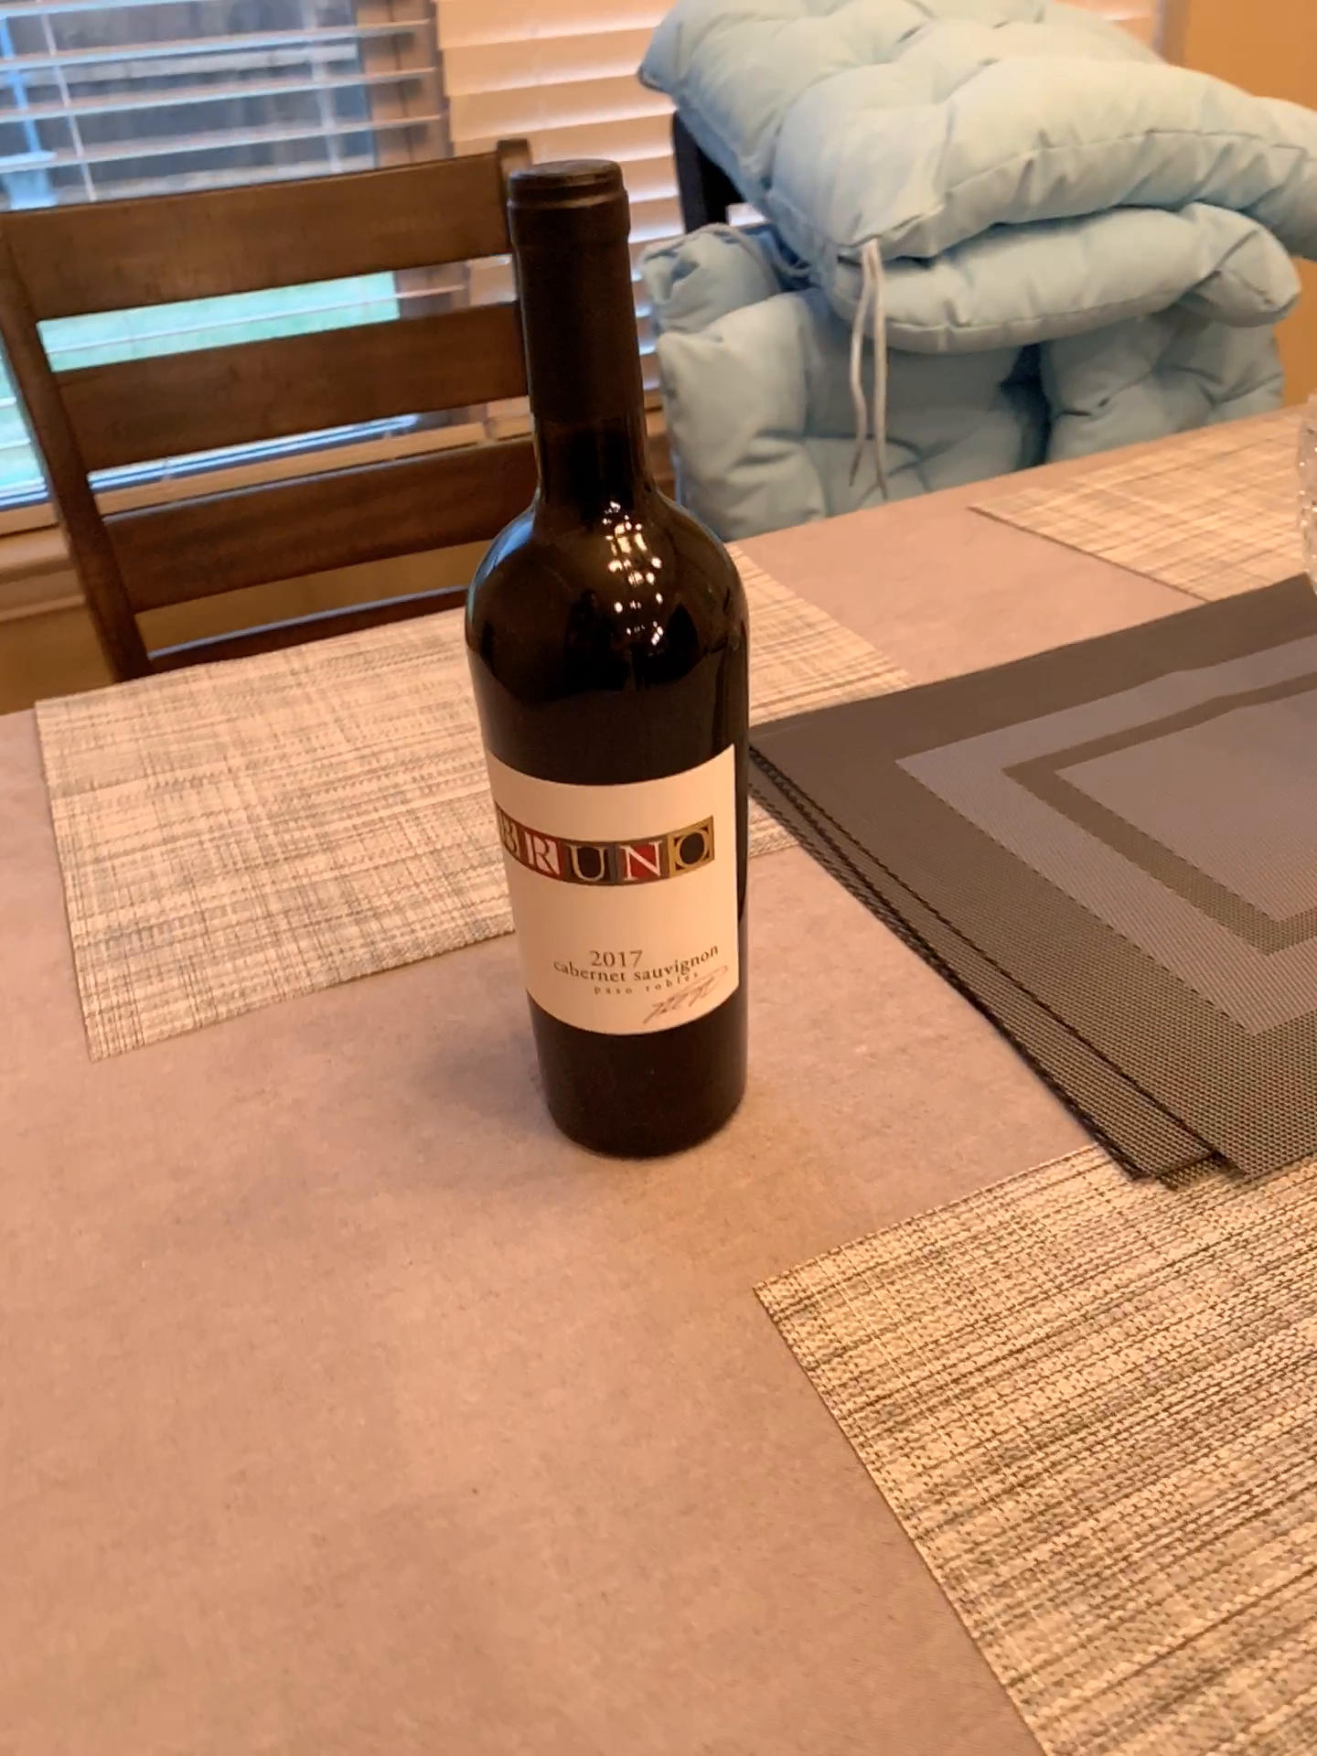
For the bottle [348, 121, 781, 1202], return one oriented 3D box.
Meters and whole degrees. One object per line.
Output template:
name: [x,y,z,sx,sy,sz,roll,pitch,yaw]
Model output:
bottle: [-0.009,-0.045,0.398,0.083,0.298,0.090,-3,34,2]
